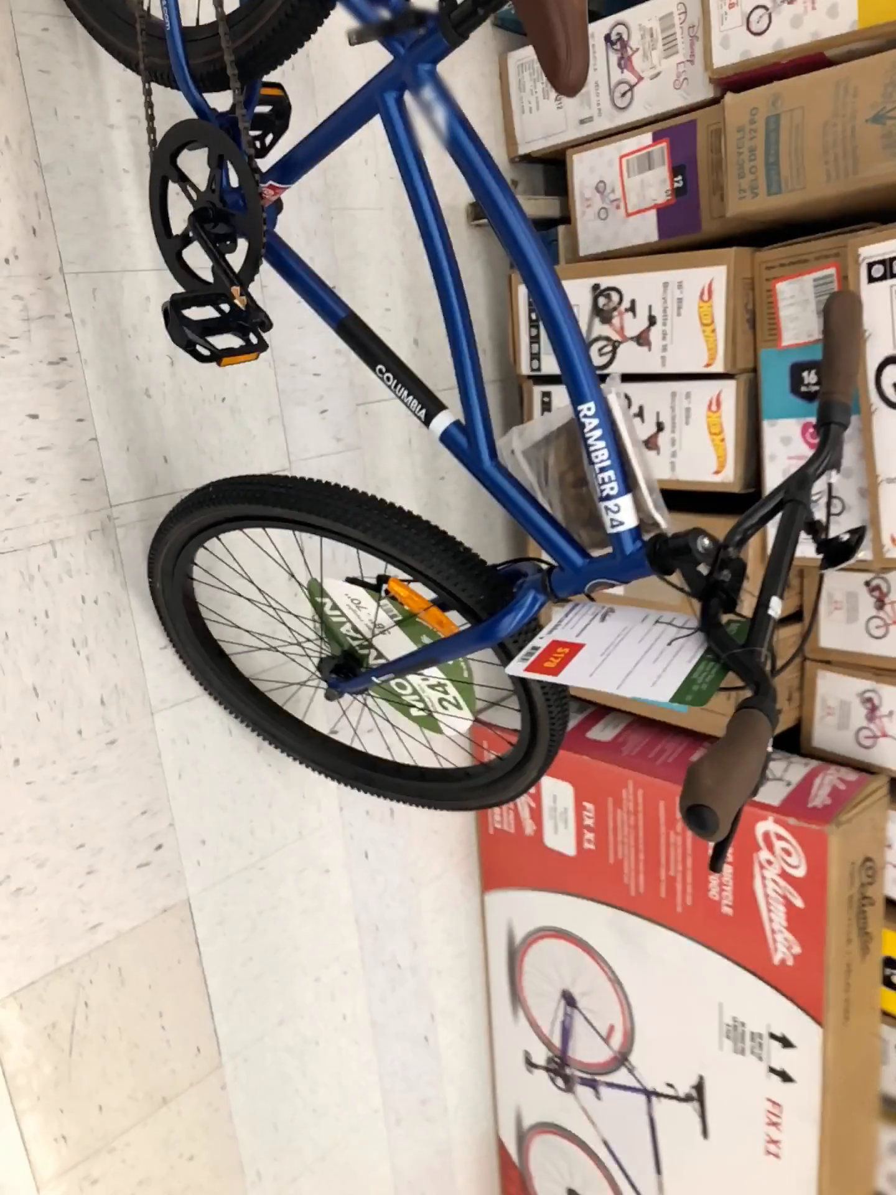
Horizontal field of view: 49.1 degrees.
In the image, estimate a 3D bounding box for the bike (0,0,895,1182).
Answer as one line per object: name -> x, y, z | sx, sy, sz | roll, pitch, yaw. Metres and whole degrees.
bike -> 0.006, -0.388, 1.064 | 0.651, 0.929, 1.554 | -30, 117, -39
